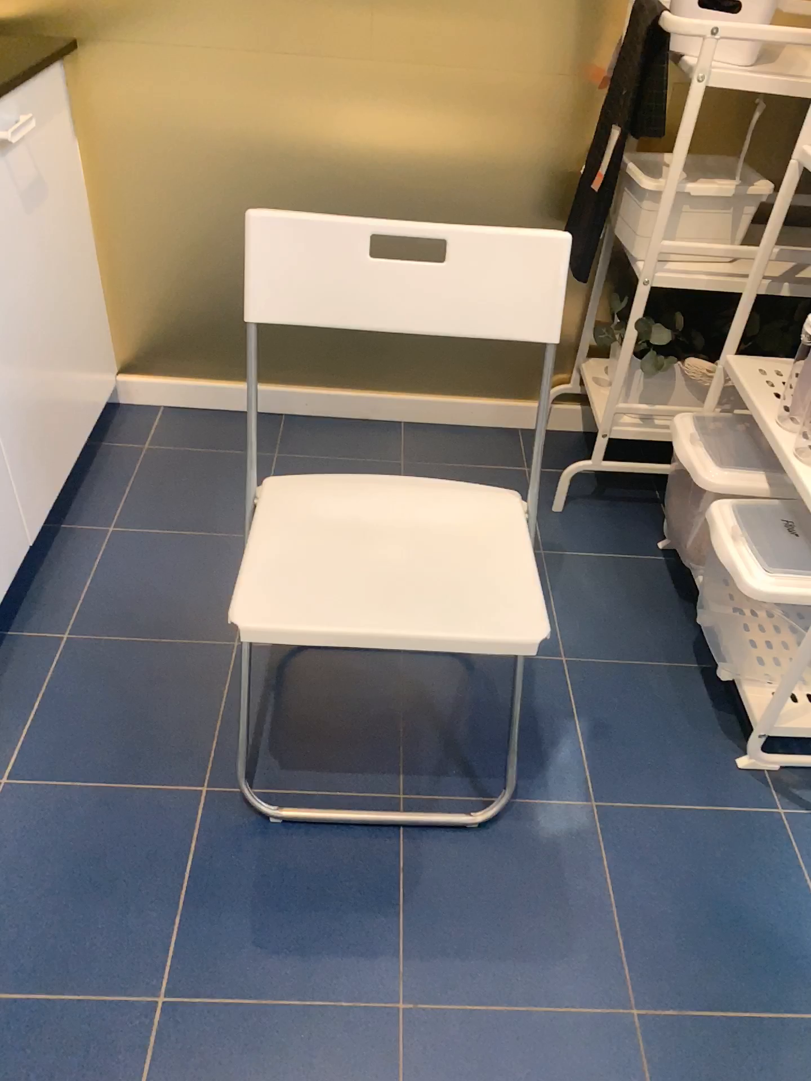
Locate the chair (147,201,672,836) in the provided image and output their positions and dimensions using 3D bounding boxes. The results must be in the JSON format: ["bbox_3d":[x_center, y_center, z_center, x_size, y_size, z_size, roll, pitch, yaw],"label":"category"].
[{"bbox_3d":[-0.016,-0.007,1.120,0.460,0.707,0.452,3,40,-2],"label":"chair"}]
